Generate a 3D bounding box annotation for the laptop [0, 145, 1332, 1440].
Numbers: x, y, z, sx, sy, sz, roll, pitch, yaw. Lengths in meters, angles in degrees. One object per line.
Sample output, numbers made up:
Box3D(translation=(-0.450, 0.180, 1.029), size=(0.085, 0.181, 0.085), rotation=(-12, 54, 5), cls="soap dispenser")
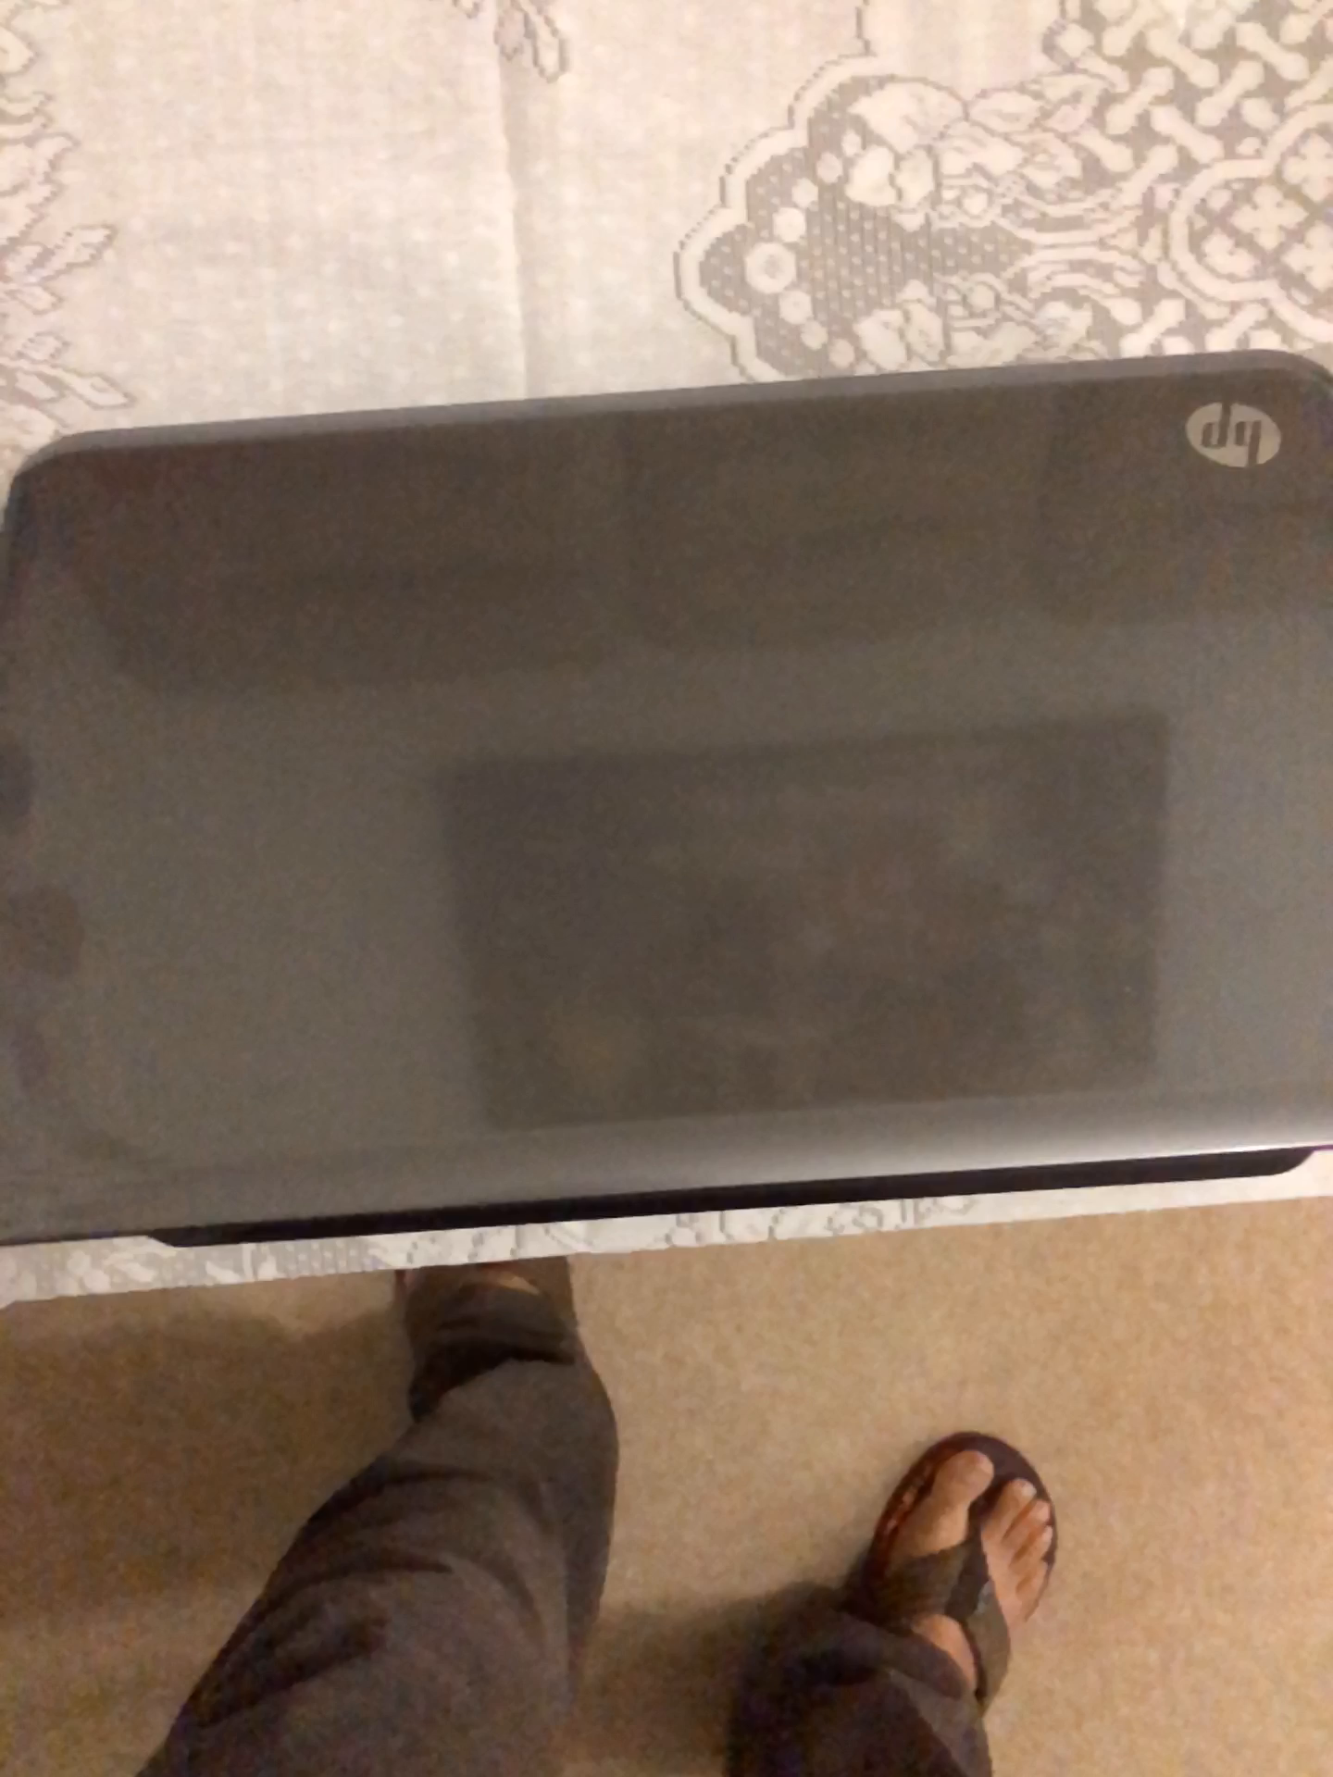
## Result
Box3D(translation=(0.009, -0.018, 0.363), size=(0.360, 0.140, 0.237), rotation=(-4, 95, 1), cls="laptop")
